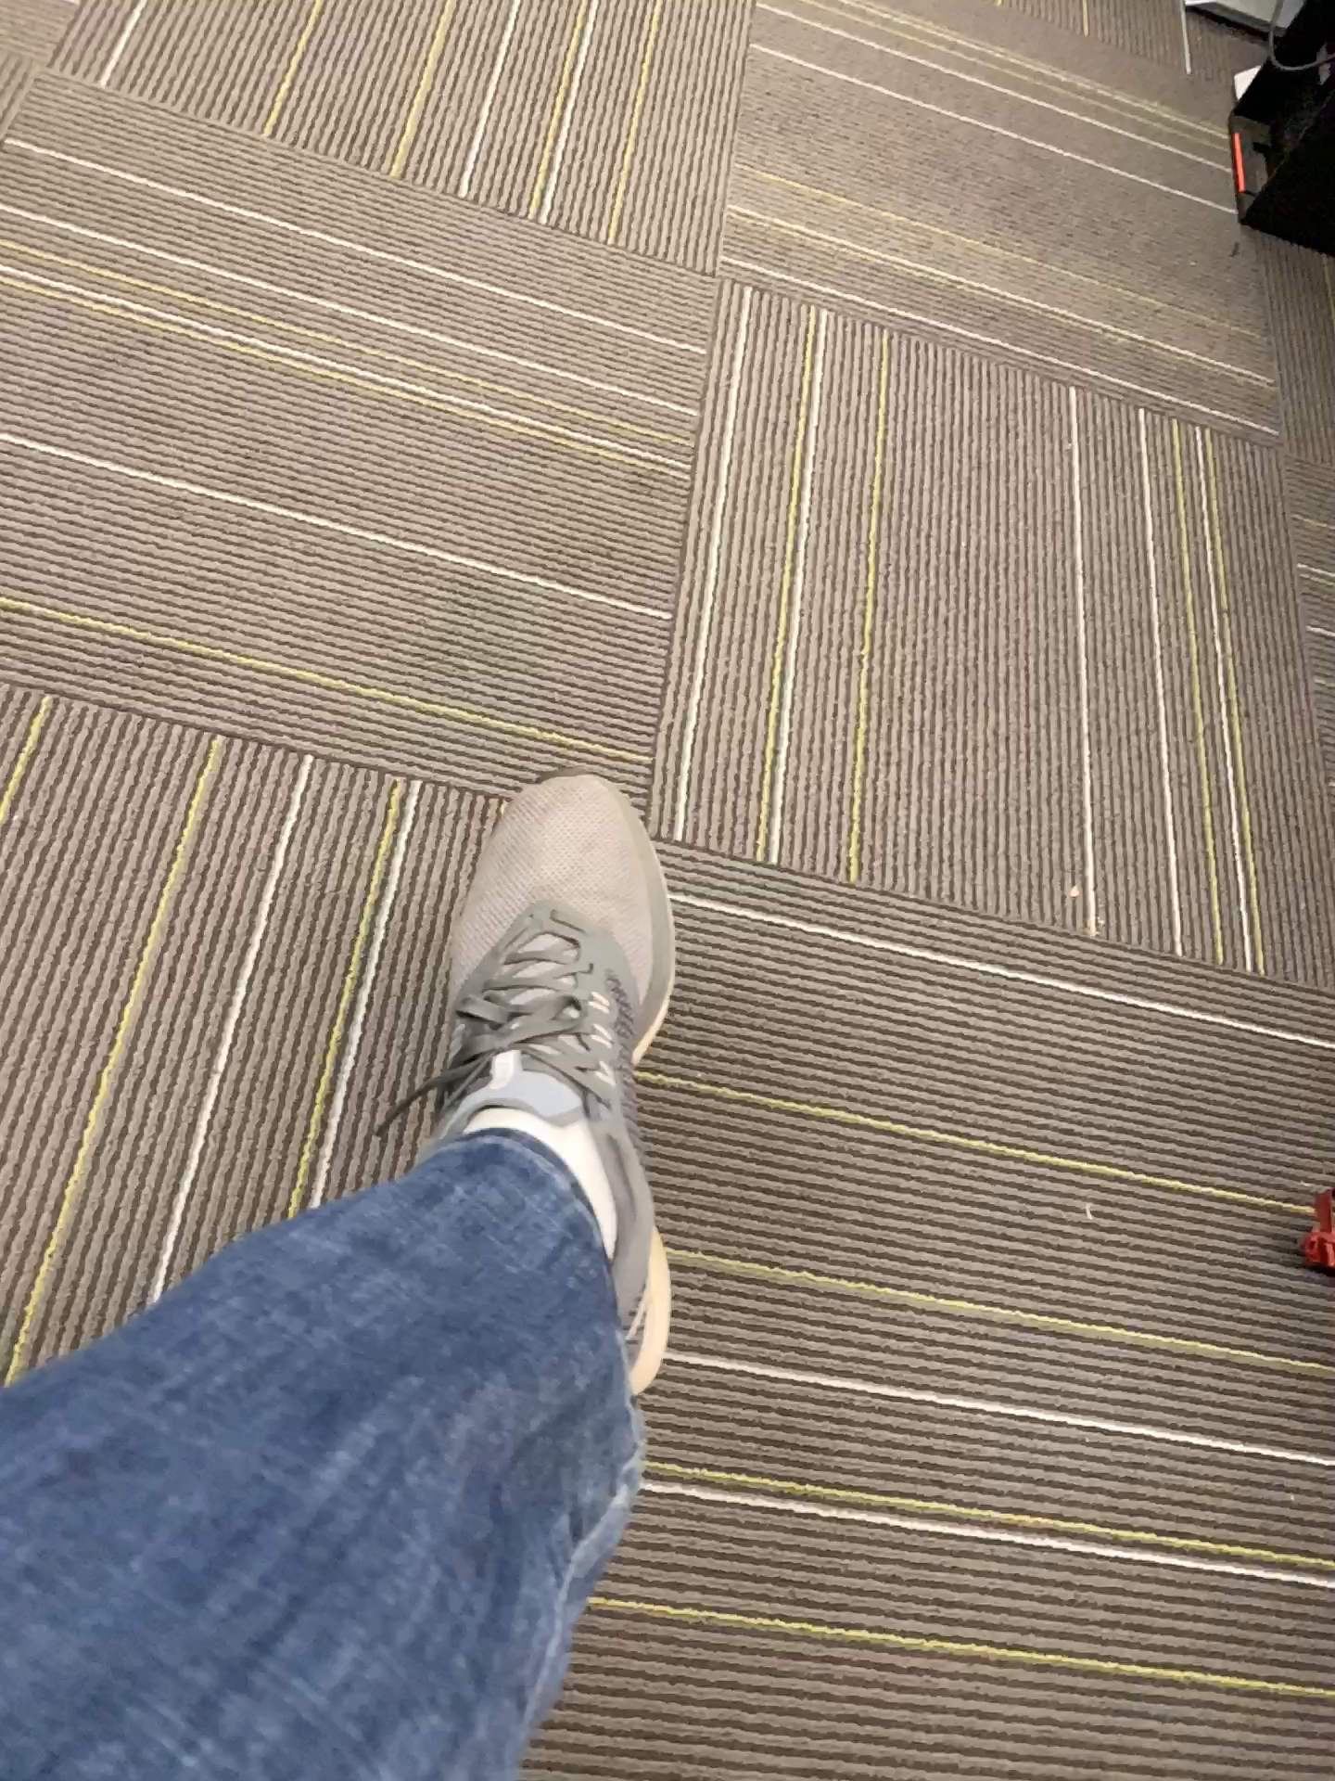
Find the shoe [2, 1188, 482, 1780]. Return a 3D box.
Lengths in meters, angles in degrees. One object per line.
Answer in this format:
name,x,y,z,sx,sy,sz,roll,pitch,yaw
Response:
shoe,-0.231,0.360,0.789,0.123,0.180,0.310,21,60,-5

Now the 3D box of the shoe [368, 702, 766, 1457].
shoe,-0.050,0.083,0.613,0.126,0.115,0.298,-13,61,12
